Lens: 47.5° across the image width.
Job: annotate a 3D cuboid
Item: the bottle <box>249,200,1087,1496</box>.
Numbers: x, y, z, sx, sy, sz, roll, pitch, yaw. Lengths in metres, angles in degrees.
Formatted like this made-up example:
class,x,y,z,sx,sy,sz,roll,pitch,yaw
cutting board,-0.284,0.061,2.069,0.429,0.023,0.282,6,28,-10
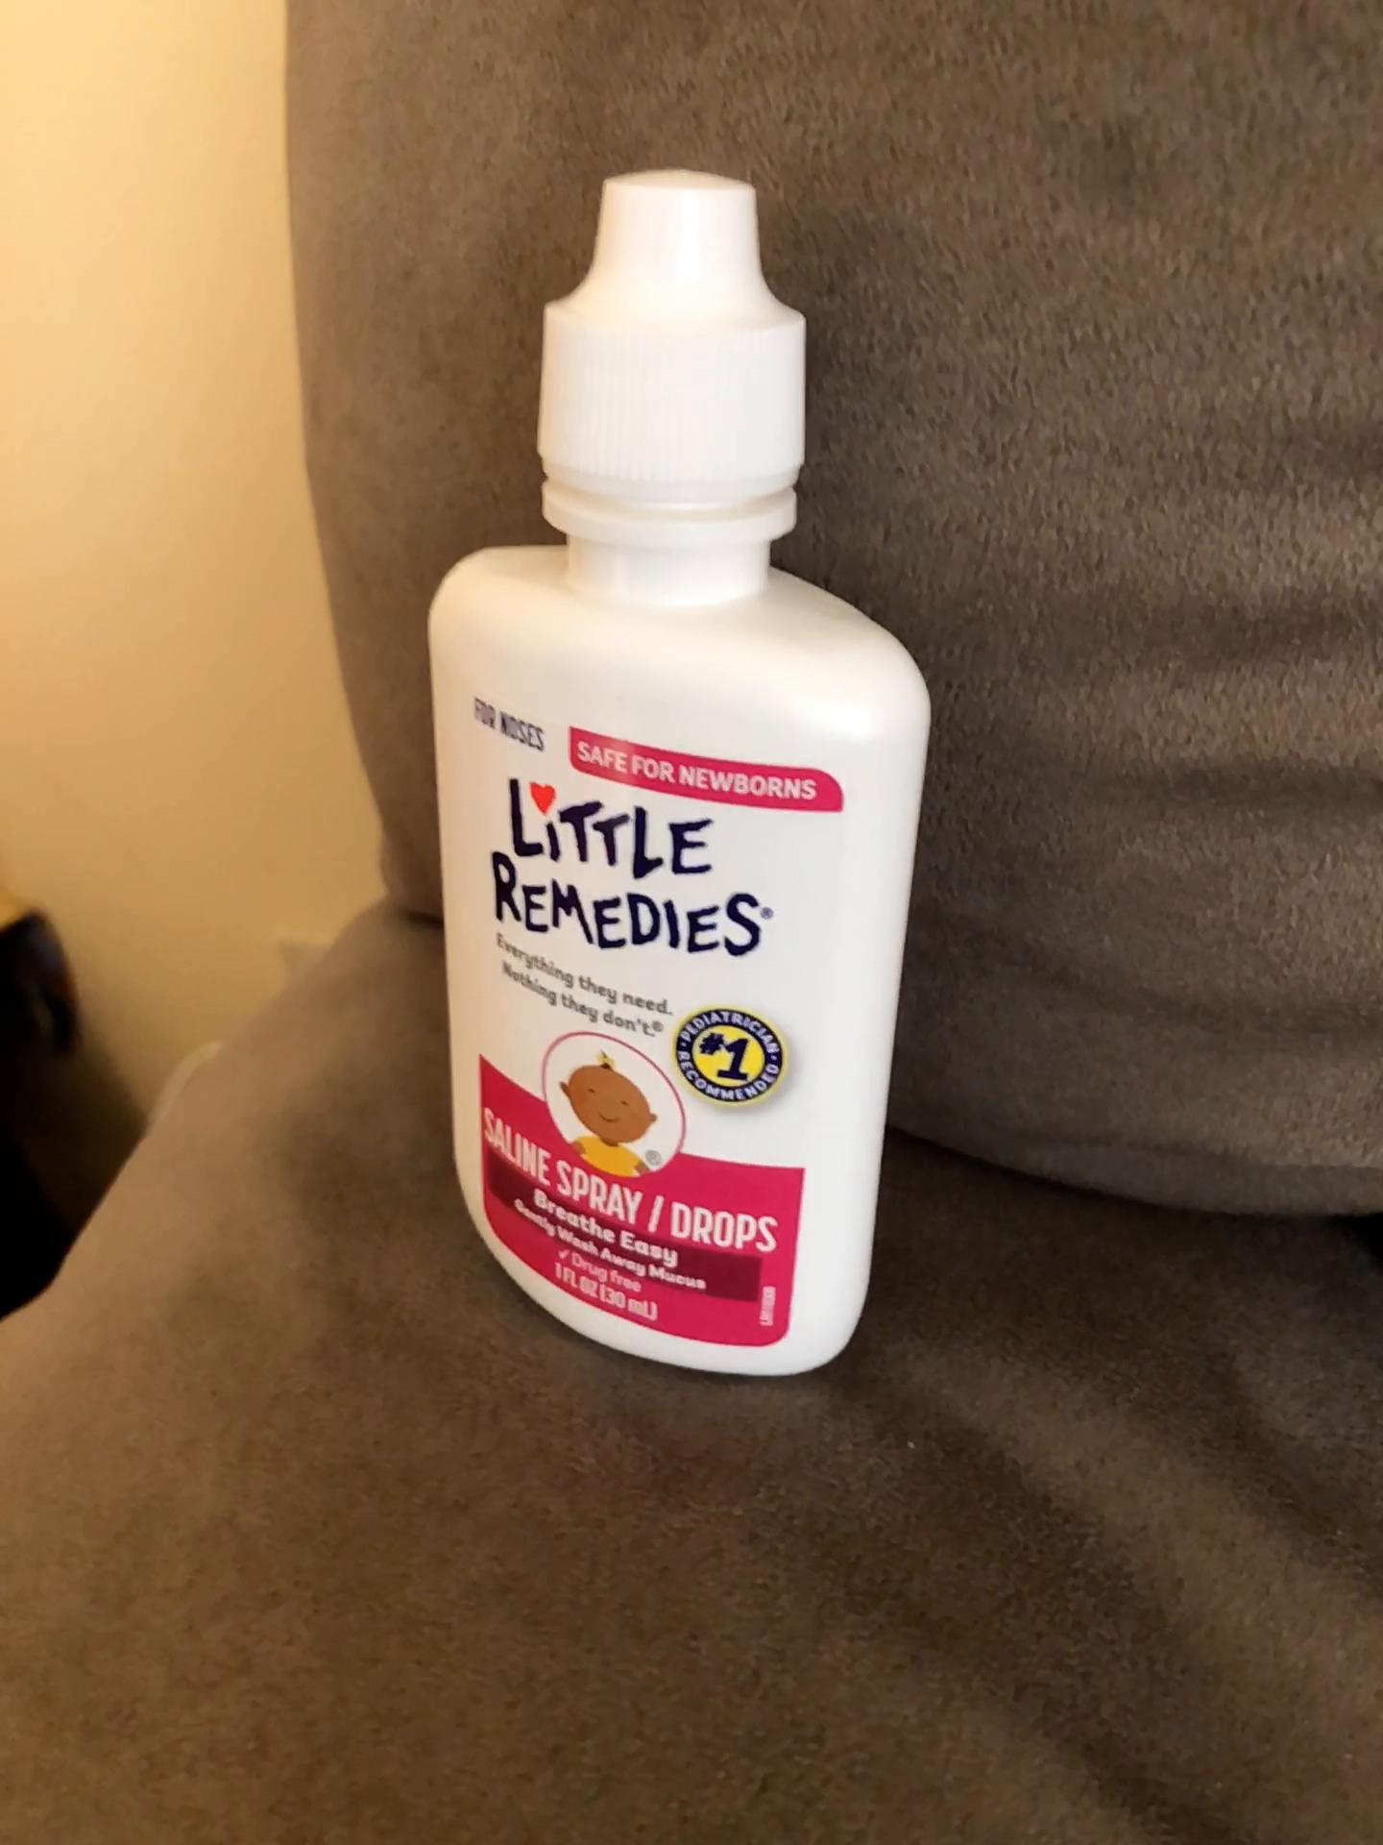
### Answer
class,x,y,z,sx,sy,sz,roll,pitch,yaw
bottle,0.000,-0.007,0.150,0.060,0.110,0.030,17,35,33
